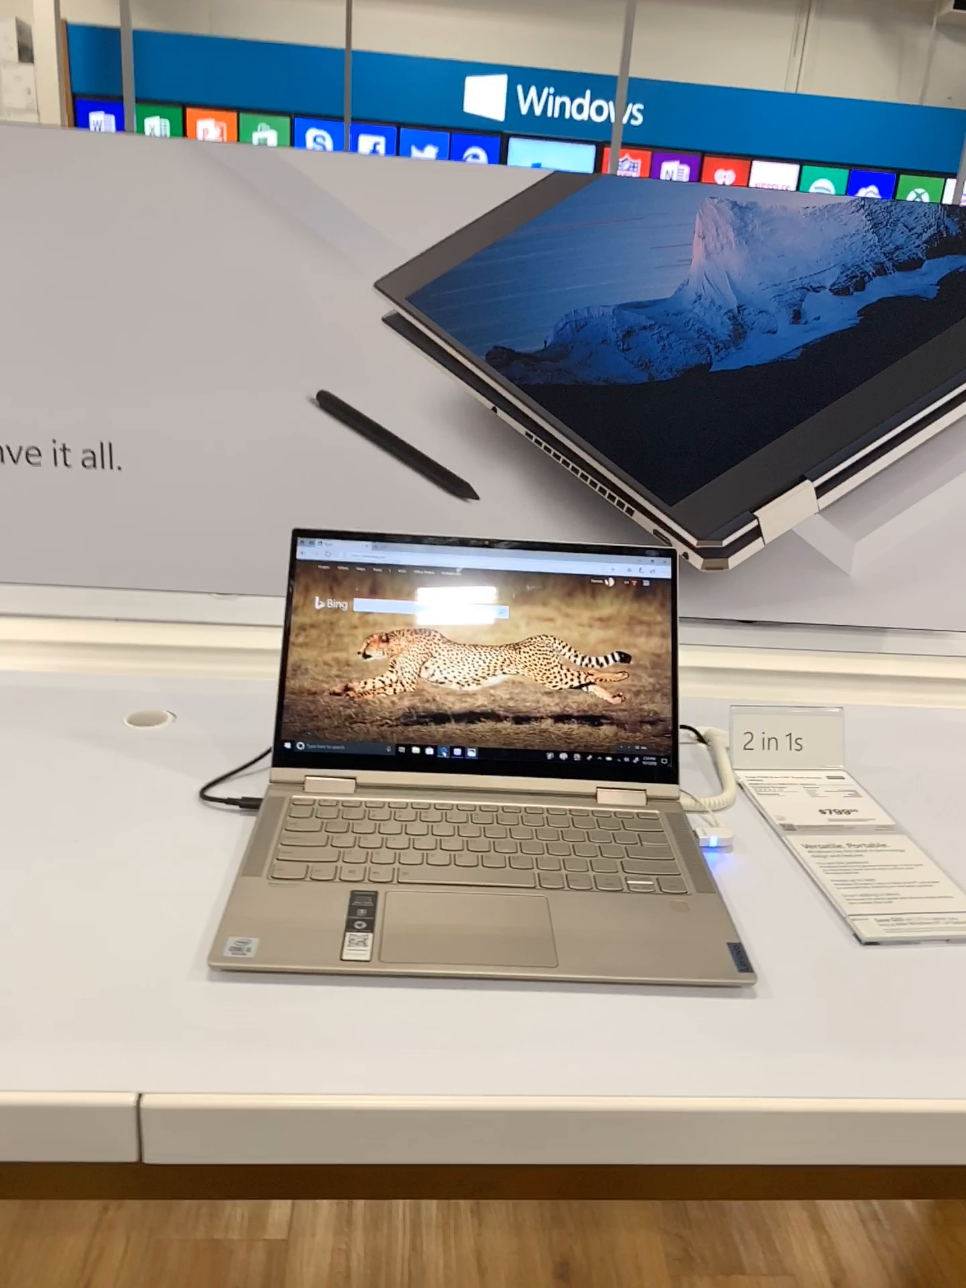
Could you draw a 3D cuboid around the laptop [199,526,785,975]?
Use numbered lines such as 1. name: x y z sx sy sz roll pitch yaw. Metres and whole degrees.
1. laptop: -0.002 0.049 0.699 0.309 0.170 0.330 3 21 -3
